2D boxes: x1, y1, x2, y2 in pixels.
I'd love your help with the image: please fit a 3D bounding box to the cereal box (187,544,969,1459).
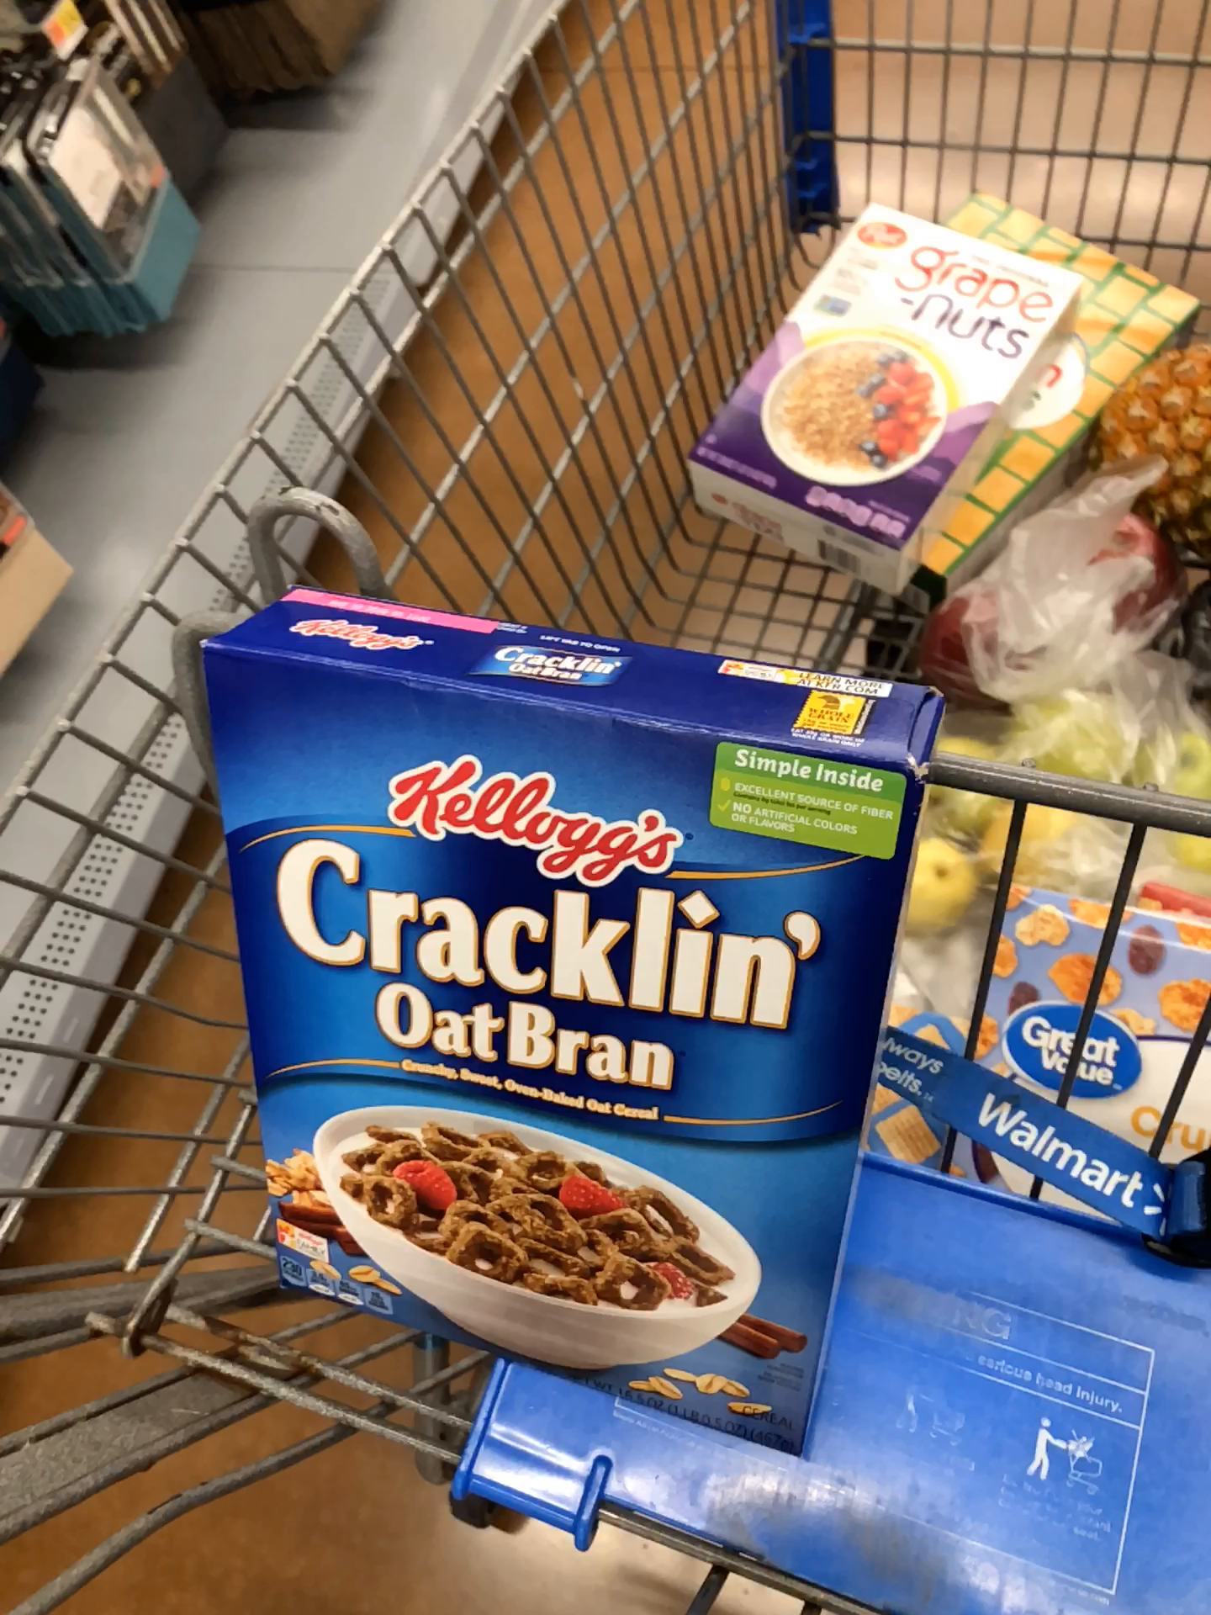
[{"bbox_3d":[-0.013,0.064,0.413,0.200,0.260,0.050,11,30,16],"label":"cereal box"}]
